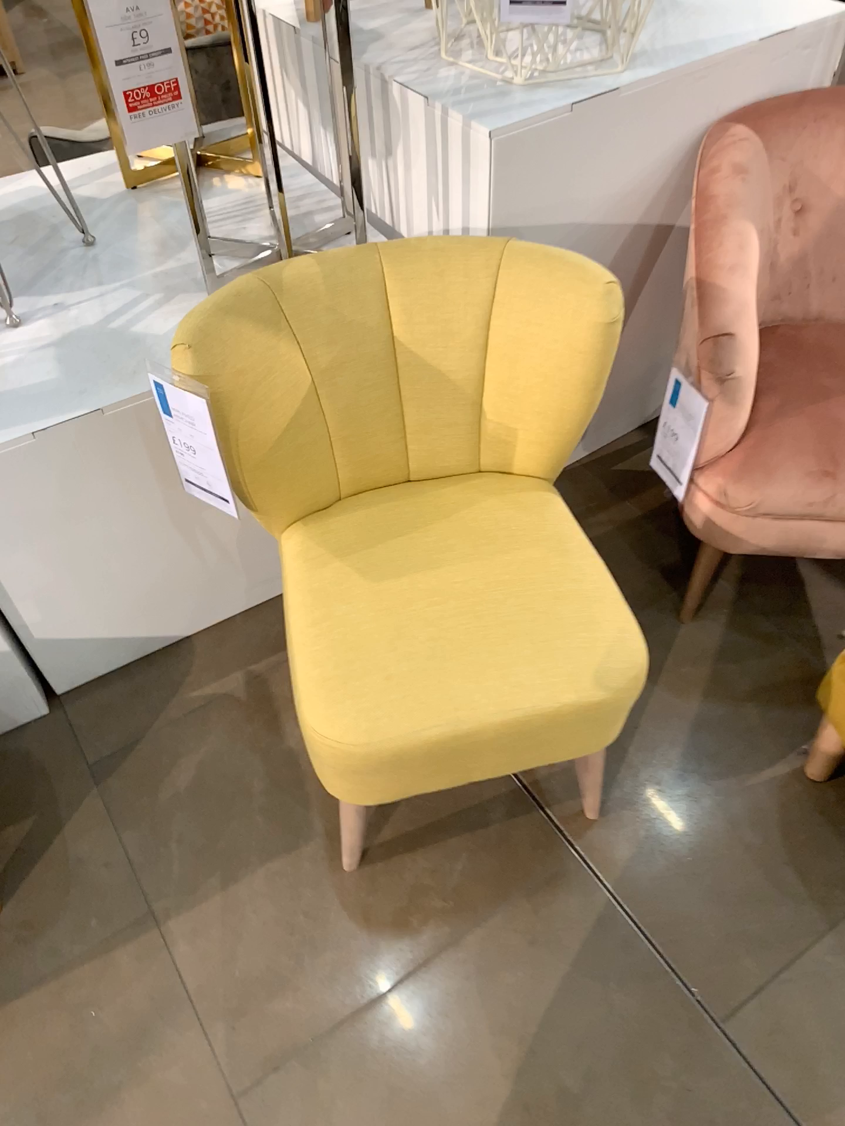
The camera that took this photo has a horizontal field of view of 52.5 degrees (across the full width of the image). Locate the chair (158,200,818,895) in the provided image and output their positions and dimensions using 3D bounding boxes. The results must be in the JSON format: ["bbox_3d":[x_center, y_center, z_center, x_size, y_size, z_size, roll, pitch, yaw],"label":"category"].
[{"bbox_3d":[0.032,-0.008,1.223,0.607,0.696,0.591,-9,48,-5],"label":"chair"}]

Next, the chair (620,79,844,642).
[{"bbox_3d":[0.749,-0.326,1.523,0.617,0.766,0.591,0,48,3],"label":"chair"}]
